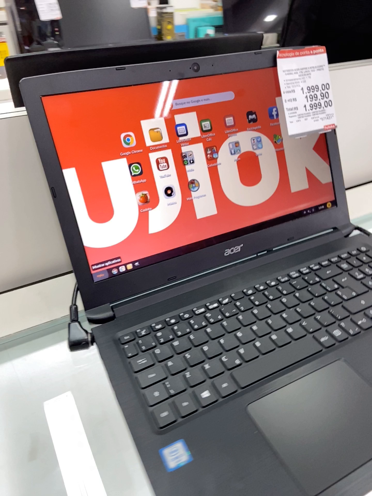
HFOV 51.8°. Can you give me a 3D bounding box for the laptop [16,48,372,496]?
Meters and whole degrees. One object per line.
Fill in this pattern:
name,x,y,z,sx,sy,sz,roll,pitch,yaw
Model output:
laptop,0.096,-0.034,0.364,0.392,0.230,0.371,-17,35,-21
